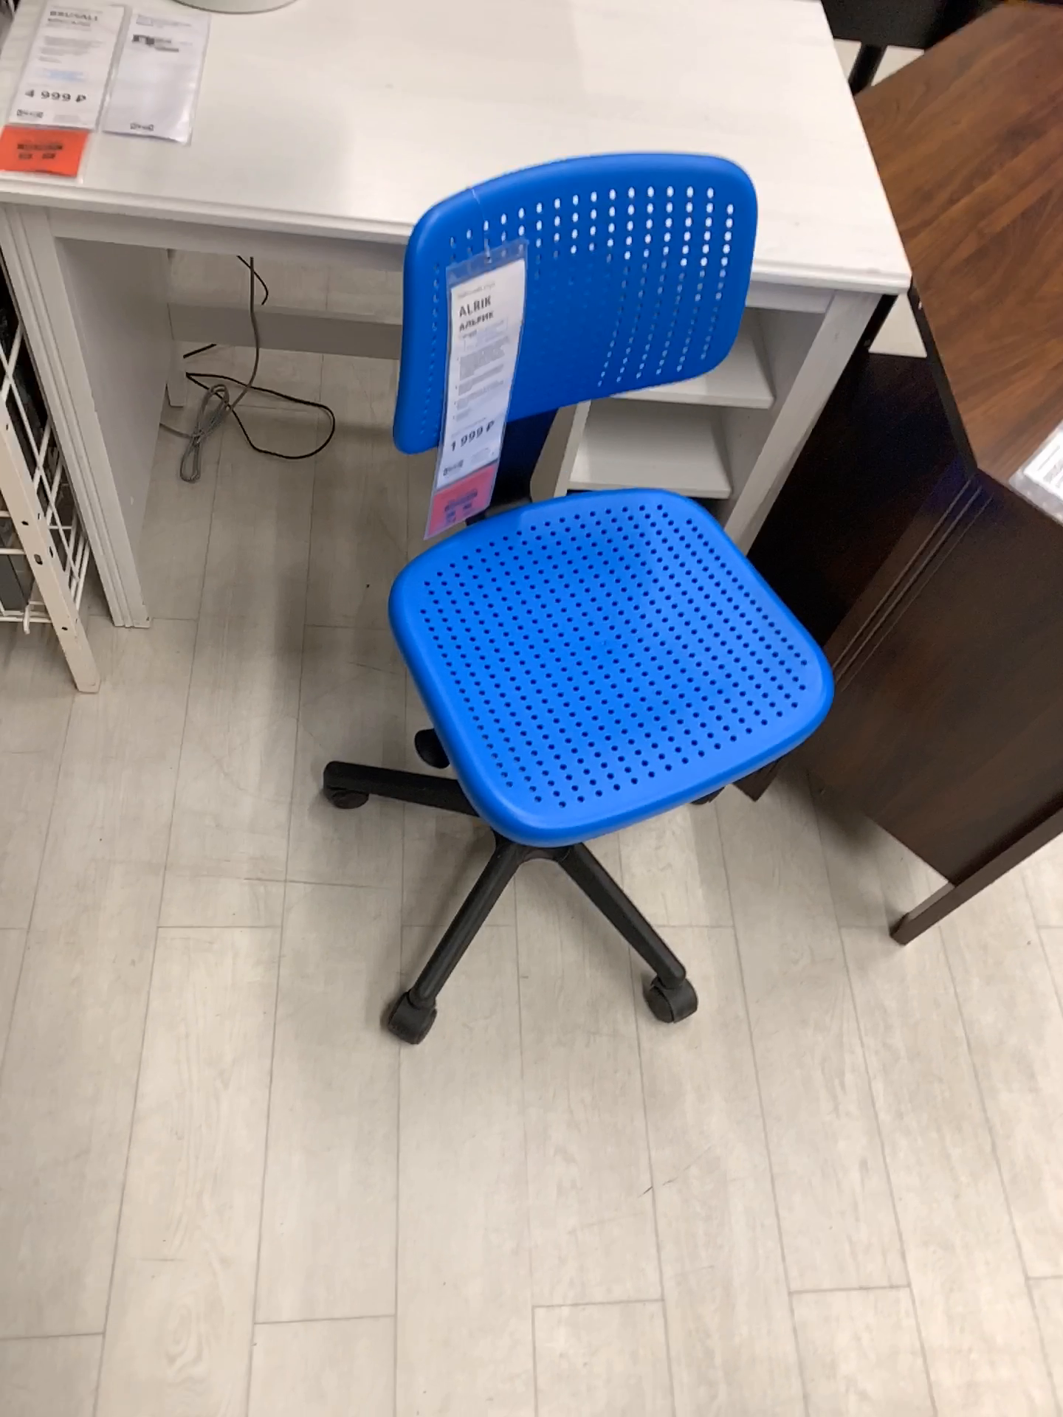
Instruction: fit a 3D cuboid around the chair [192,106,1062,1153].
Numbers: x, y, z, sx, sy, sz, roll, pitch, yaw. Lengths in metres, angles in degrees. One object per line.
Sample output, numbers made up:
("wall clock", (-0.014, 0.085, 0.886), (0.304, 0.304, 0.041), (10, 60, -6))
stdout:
("chair", (0.075, -0.024, 1.180), (0.611, 0.857, 0.621), (-19, 64, -20))
